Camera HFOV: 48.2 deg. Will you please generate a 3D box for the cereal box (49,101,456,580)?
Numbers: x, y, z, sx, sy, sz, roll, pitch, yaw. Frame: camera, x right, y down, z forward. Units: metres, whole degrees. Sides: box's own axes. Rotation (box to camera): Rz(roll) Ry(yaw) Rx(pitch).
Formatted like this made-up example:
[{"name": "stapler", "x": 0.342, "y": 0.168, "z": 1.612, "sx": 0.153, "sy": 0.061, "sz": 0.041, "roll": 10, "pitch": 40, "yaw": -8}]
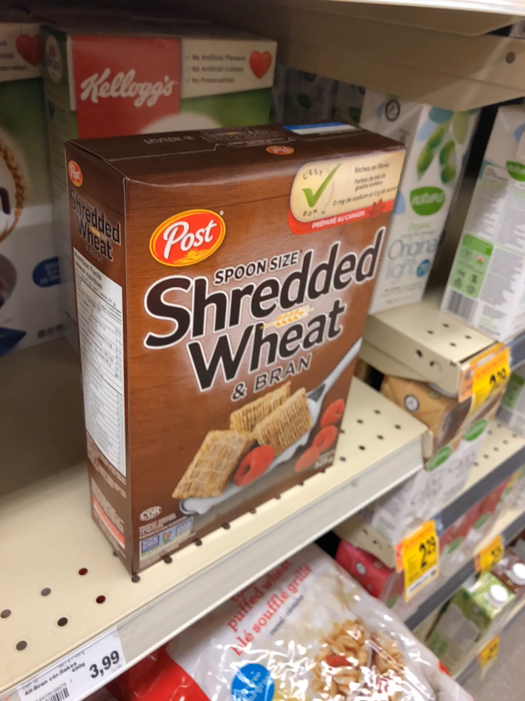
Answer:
[{"name": "cereal box", "x": -0.005, "y": -0.012, "z": 0.367, "sx": 0.211, "sy": 0.248, "sz": 0.070, "roll": -20, "pitch": 42, "yaw": -35}]
